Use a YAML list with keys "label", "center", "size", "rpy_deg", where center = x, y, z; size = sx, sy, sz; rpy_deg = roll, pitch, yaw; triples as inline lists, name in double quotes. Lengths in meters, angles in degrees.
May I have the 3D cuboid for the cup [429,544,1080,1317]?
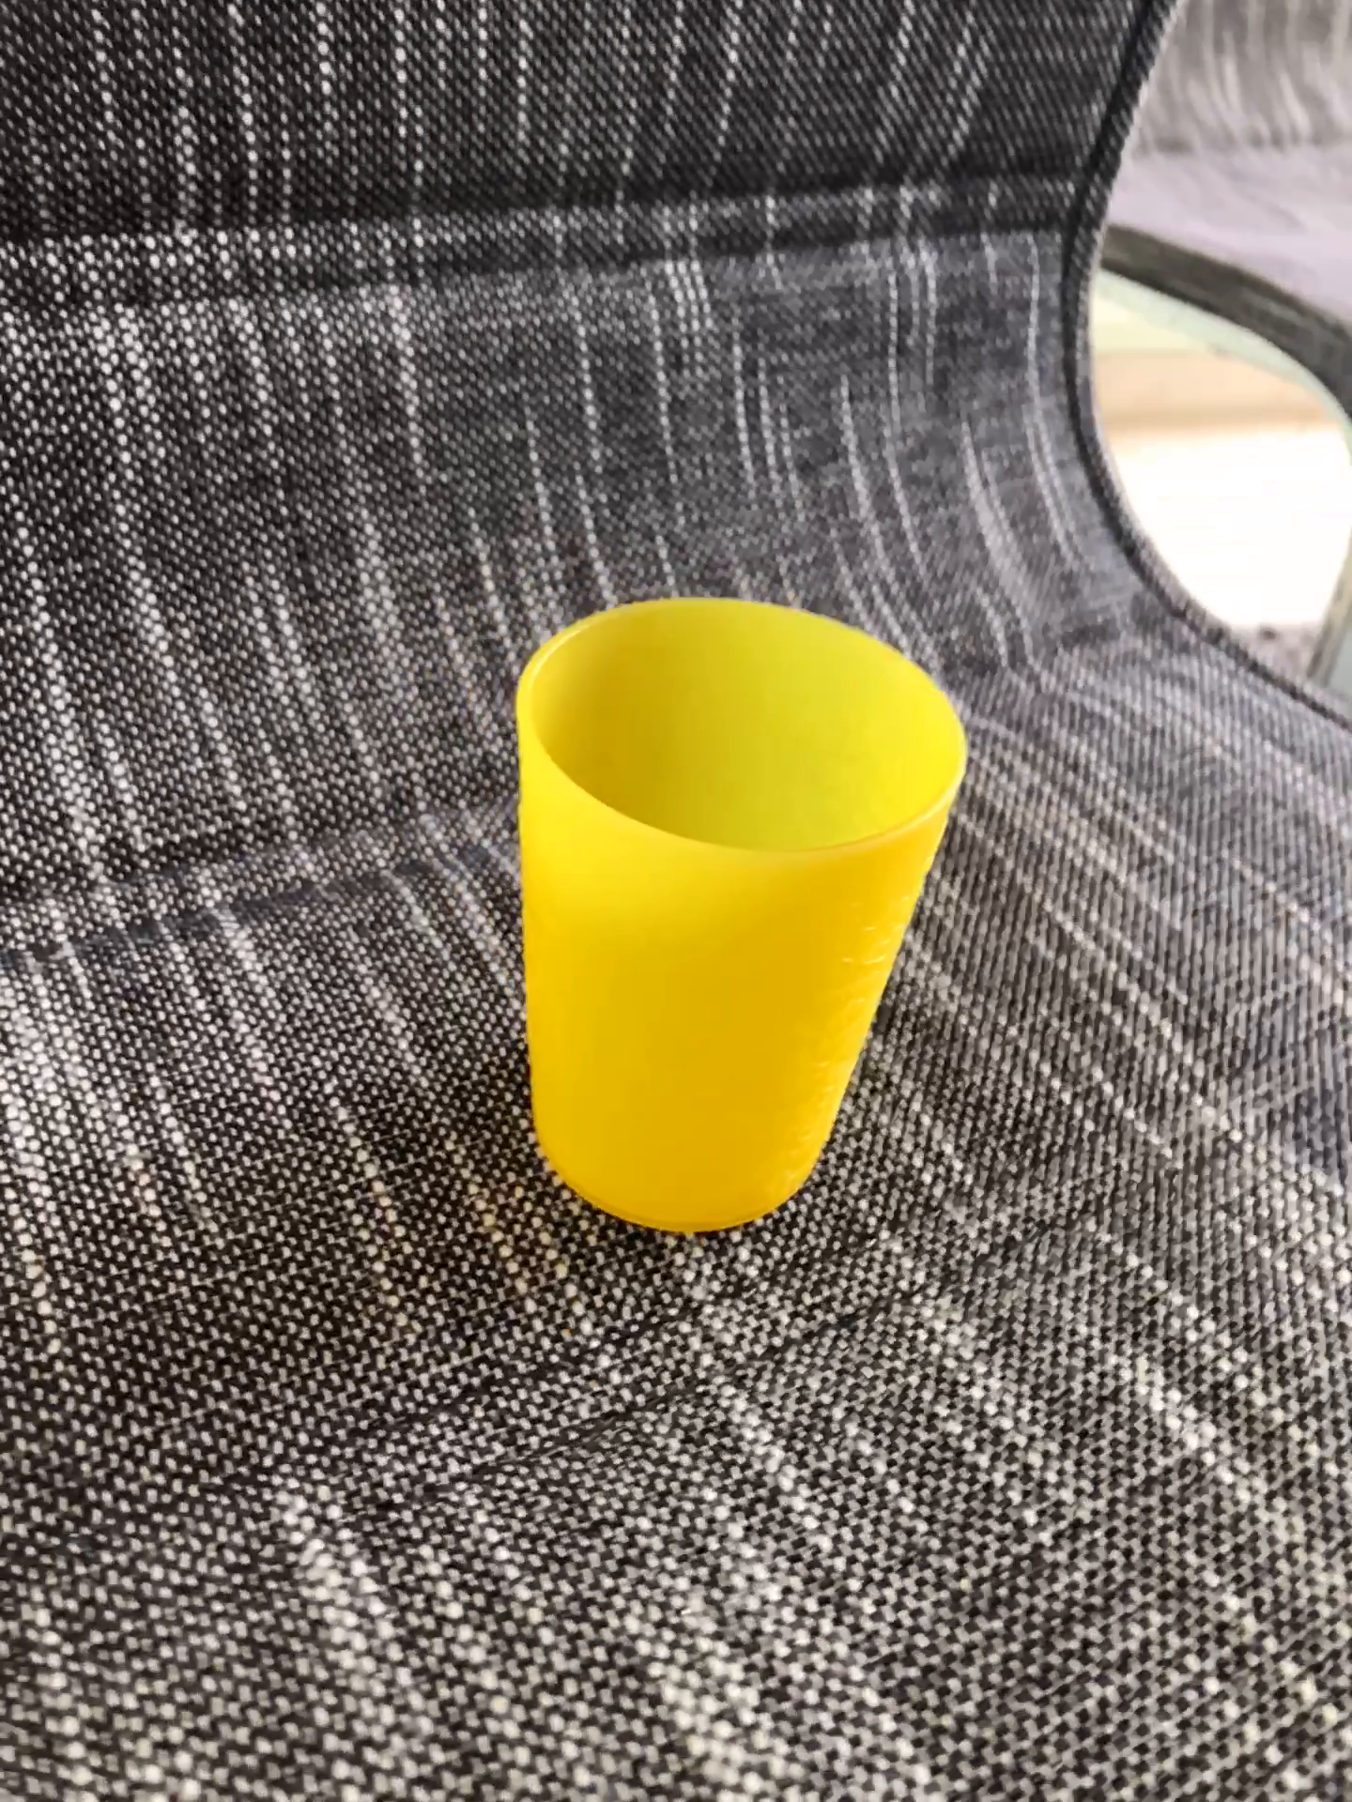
- label: "cup"
  center: [0.006, 0.003, 0.223]
  size: [0.060, 0.079, 0.060]
  rpy_deg: [6, 40, -5]
